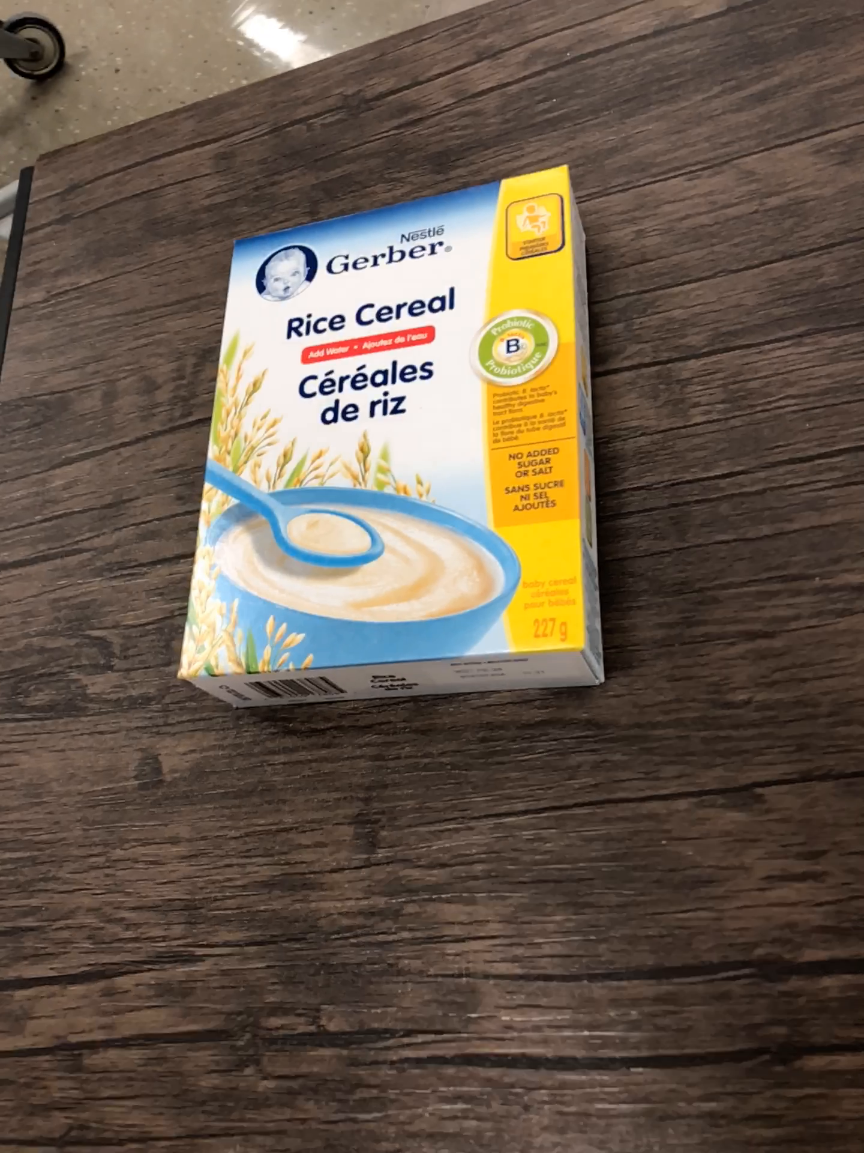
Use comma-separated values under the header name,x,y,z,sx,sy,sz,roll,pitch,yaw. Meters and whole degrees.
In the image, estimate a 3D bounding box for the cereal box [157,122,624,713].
name,x,y,z,sx,sy,sz,roll,pitch,yaw
cereal box,-0.012,-0.056,0.359,0.150,0.050,0.200,-6,68,18
